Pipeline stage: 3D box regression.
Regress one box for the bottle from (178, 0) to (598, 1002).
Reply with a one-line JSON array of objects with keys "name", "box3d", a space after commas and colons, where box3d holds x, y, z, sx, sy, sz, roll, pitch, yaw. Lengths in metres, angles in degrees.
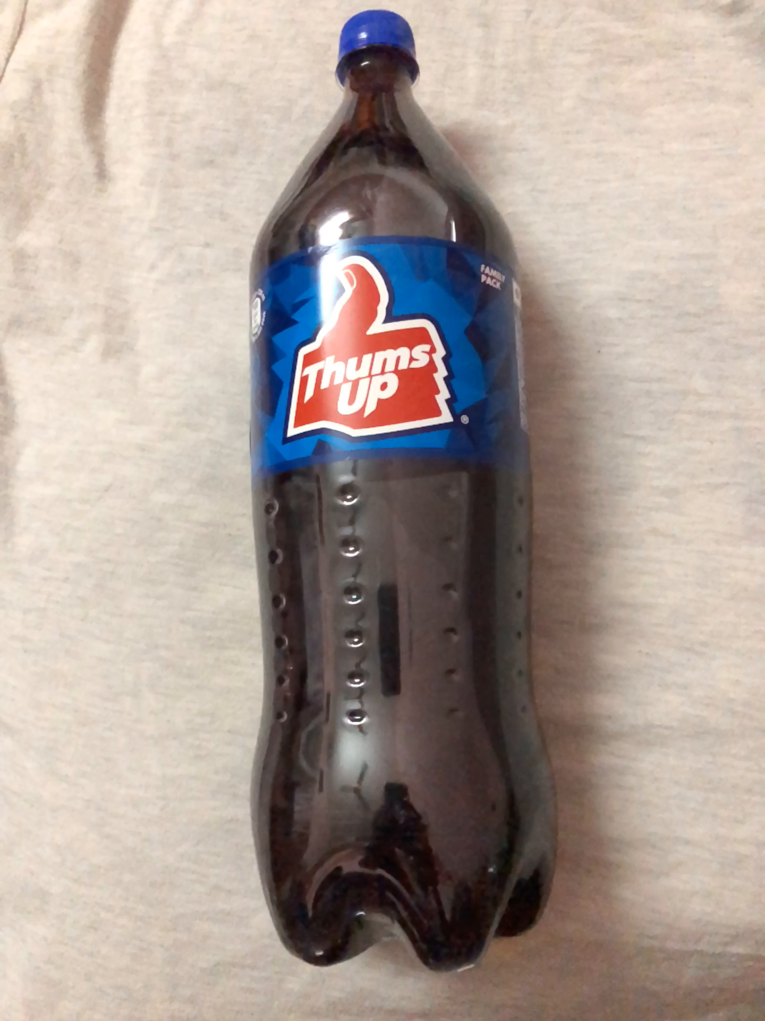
[{"name": "bottle", "box3d": [-0.001, -0.029, 0.256, 0.100, 0.060, 0.300, -5, 80, 12]}]
